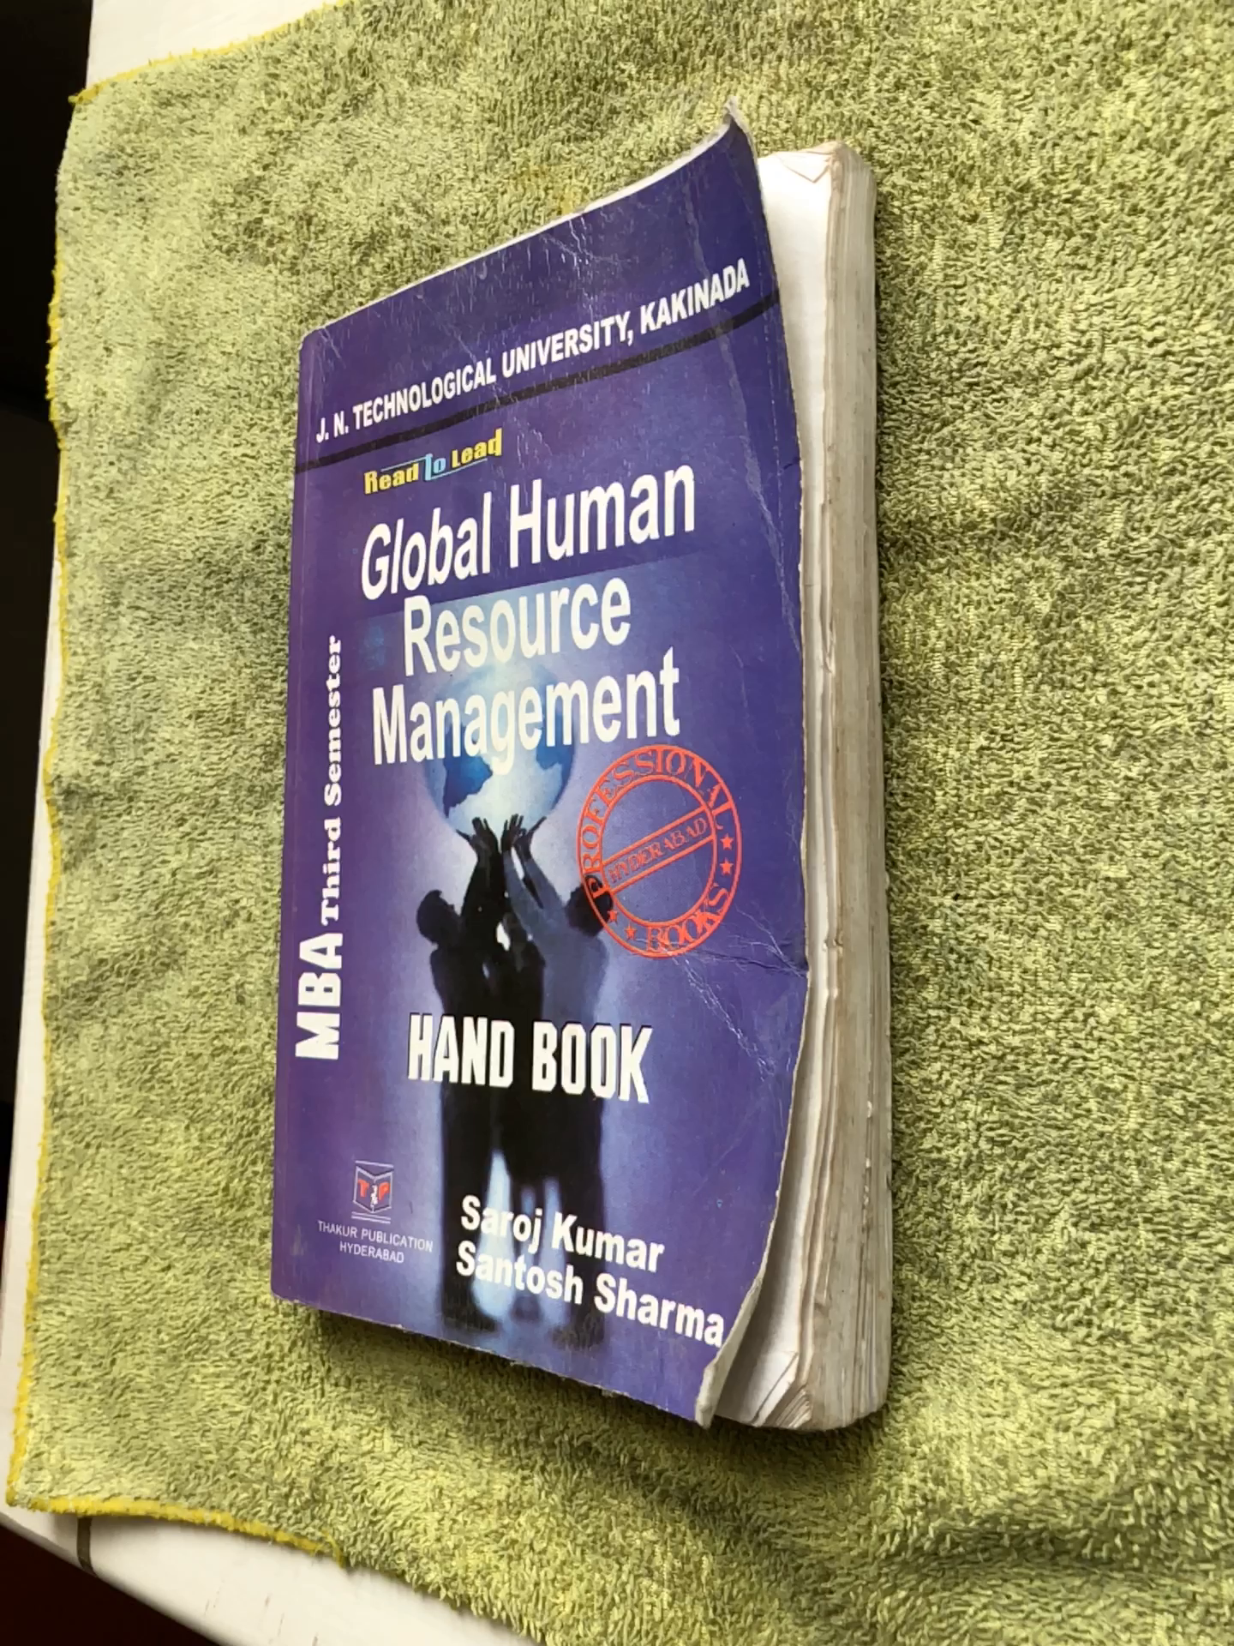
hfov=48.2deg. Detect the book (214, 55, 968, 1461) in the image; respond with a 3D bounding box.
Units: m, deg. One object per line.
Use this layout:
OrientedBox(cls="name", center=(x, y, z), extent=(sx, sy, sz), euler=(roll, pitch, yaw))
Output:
OrientedBox(cls="book", center=(-0.012, -0.008, 0.254), extent=(0.141, 0.040, 0.200), euler=(-4, 83, 38))
